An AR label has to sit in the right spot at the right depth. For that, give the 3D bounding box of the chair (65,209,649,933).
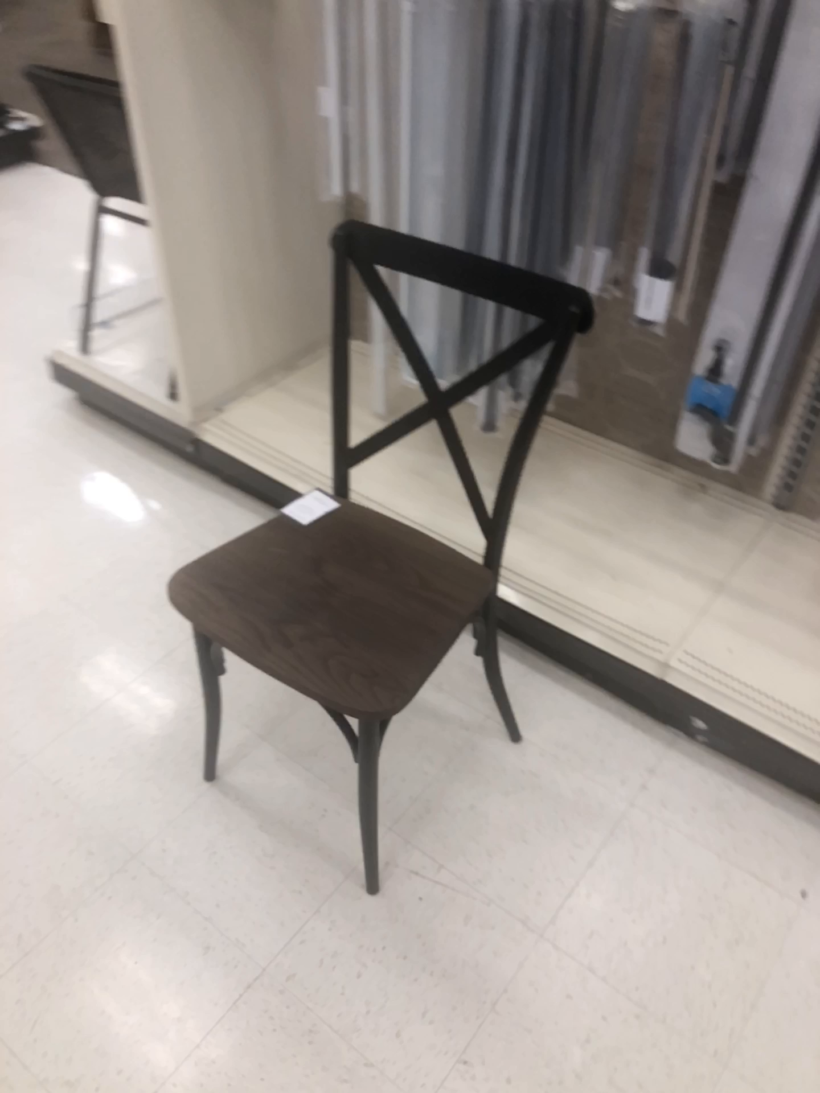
[{"bbox_3d":[-0.049,0.033,1.351,0.476,0.811,0.527,26,46,27],"label":"chair"}]
